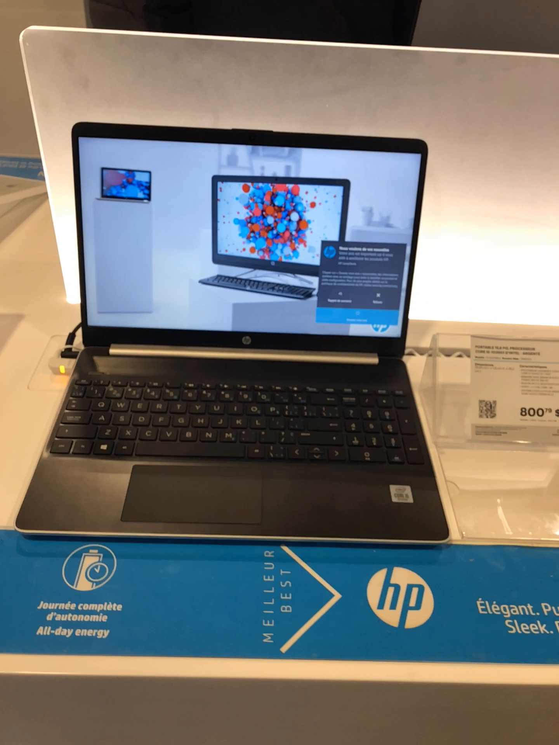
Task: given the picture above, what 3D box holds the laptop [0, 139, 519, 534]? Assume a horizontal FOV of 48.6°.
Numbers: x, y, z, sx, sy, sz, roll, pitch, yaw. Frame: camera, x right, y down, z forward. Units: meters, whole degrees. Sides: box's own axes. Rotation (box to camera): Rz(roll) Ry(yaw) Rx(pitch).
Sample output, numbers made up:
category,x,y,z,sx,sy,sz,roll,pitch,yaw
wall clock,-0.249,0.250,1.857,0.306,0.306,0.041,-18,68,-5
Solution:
category,x,y,z,sx,sy,sz,roll,pitch,yaw
laptop,-0.032,-0.051,0.554,0.336,0.206,0.317,3,37,-1
